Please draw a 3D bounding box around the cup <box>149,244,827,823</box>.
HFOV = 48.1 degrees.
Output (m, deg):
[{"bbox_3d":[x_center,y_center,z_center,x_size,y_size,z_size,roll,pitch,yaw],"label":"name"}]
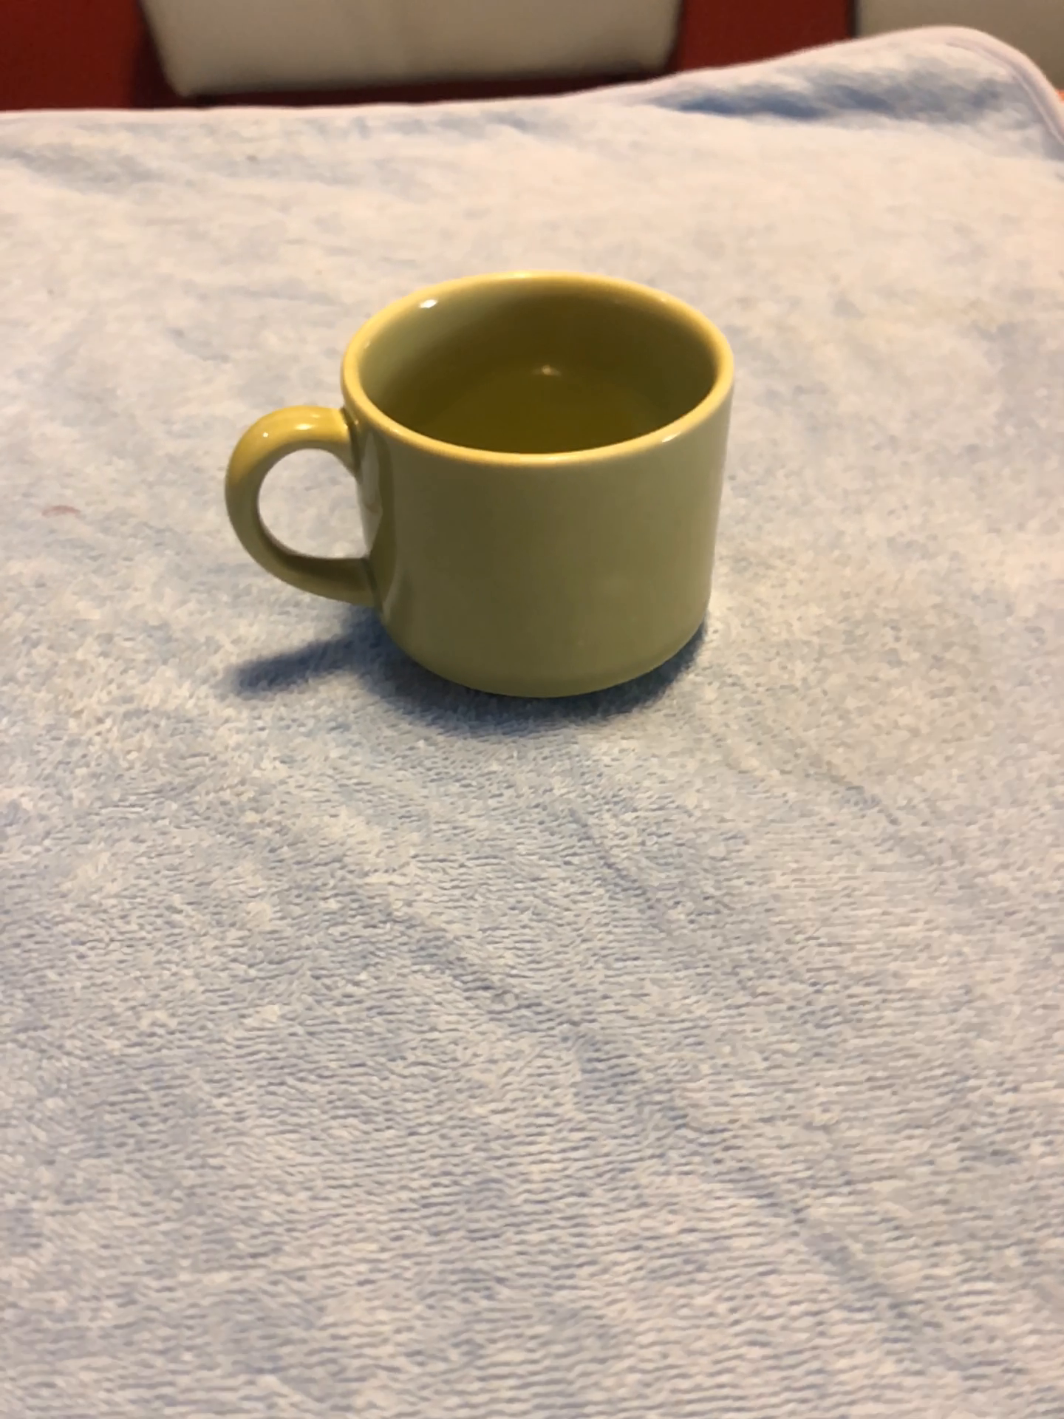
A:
[{"bbox_3d":[-0.013,-0.043,0.254,0.110,0.060,0.091,-16,45,-13],"label":"cup"}]
